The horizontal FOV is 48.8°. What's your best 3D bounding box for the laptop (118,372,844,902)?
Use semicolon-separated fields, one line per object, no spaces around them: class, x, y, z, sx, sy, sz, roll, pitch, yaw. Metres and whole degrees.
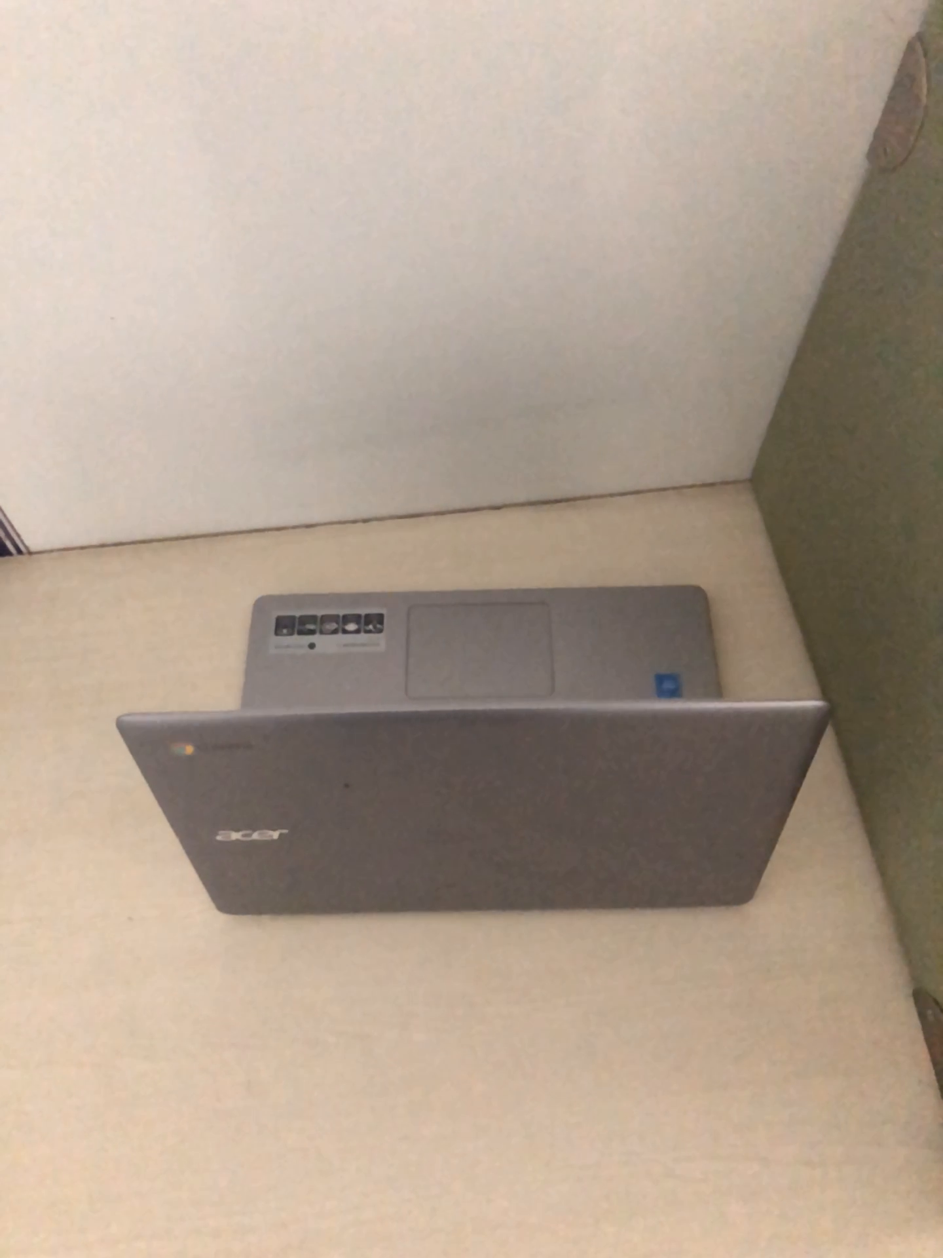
laptop;0.011;0.012;0.608;0.321;0.218;0.222;-1;59;-2
